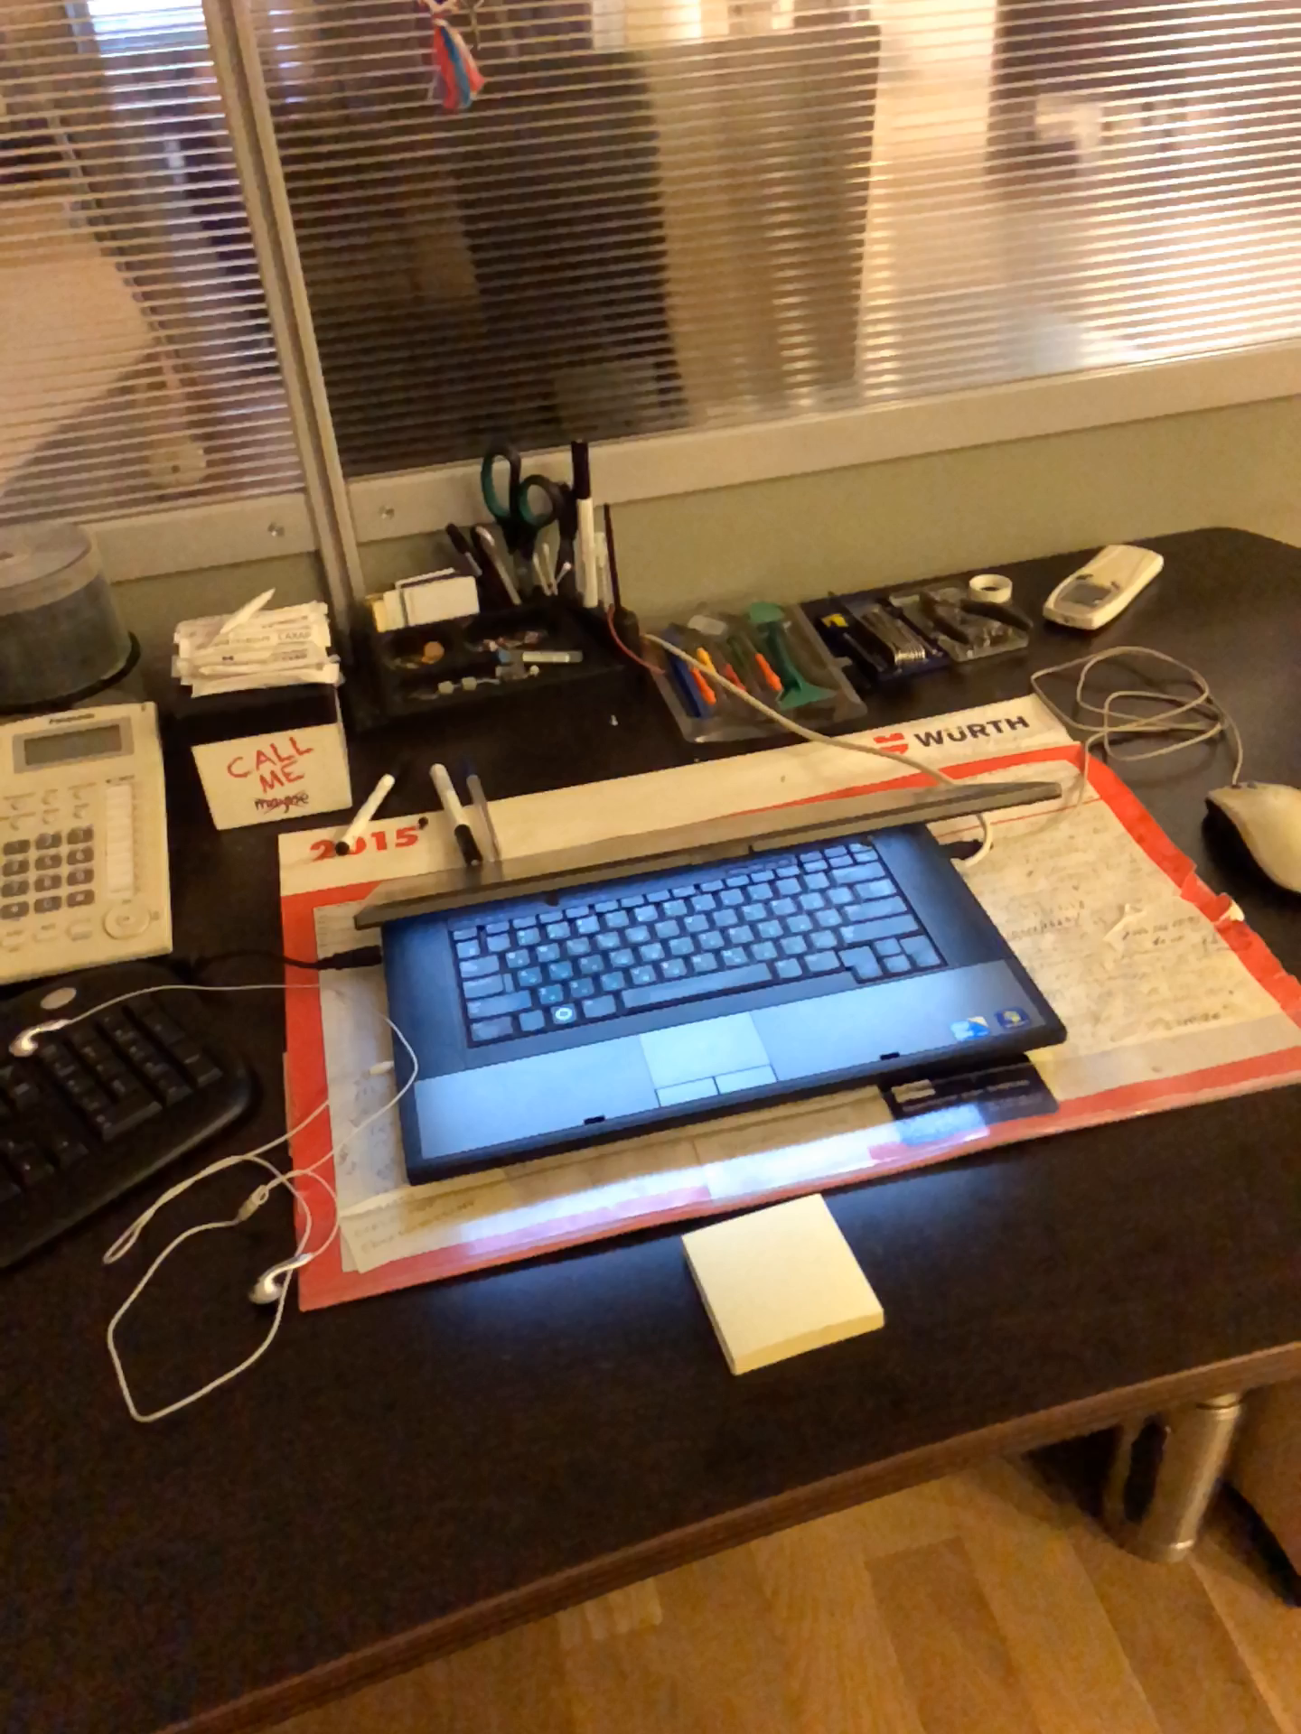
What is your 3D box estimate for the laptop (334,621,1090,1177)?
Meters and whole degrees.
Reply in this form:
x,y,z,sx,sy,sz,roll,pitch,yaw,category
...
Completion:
x,y,z,sx,sy,sz,roll,pitch,yaw,category
0.020,0.002,0.808,0.358,0.141,0.240,-10,36,-9,laptop
